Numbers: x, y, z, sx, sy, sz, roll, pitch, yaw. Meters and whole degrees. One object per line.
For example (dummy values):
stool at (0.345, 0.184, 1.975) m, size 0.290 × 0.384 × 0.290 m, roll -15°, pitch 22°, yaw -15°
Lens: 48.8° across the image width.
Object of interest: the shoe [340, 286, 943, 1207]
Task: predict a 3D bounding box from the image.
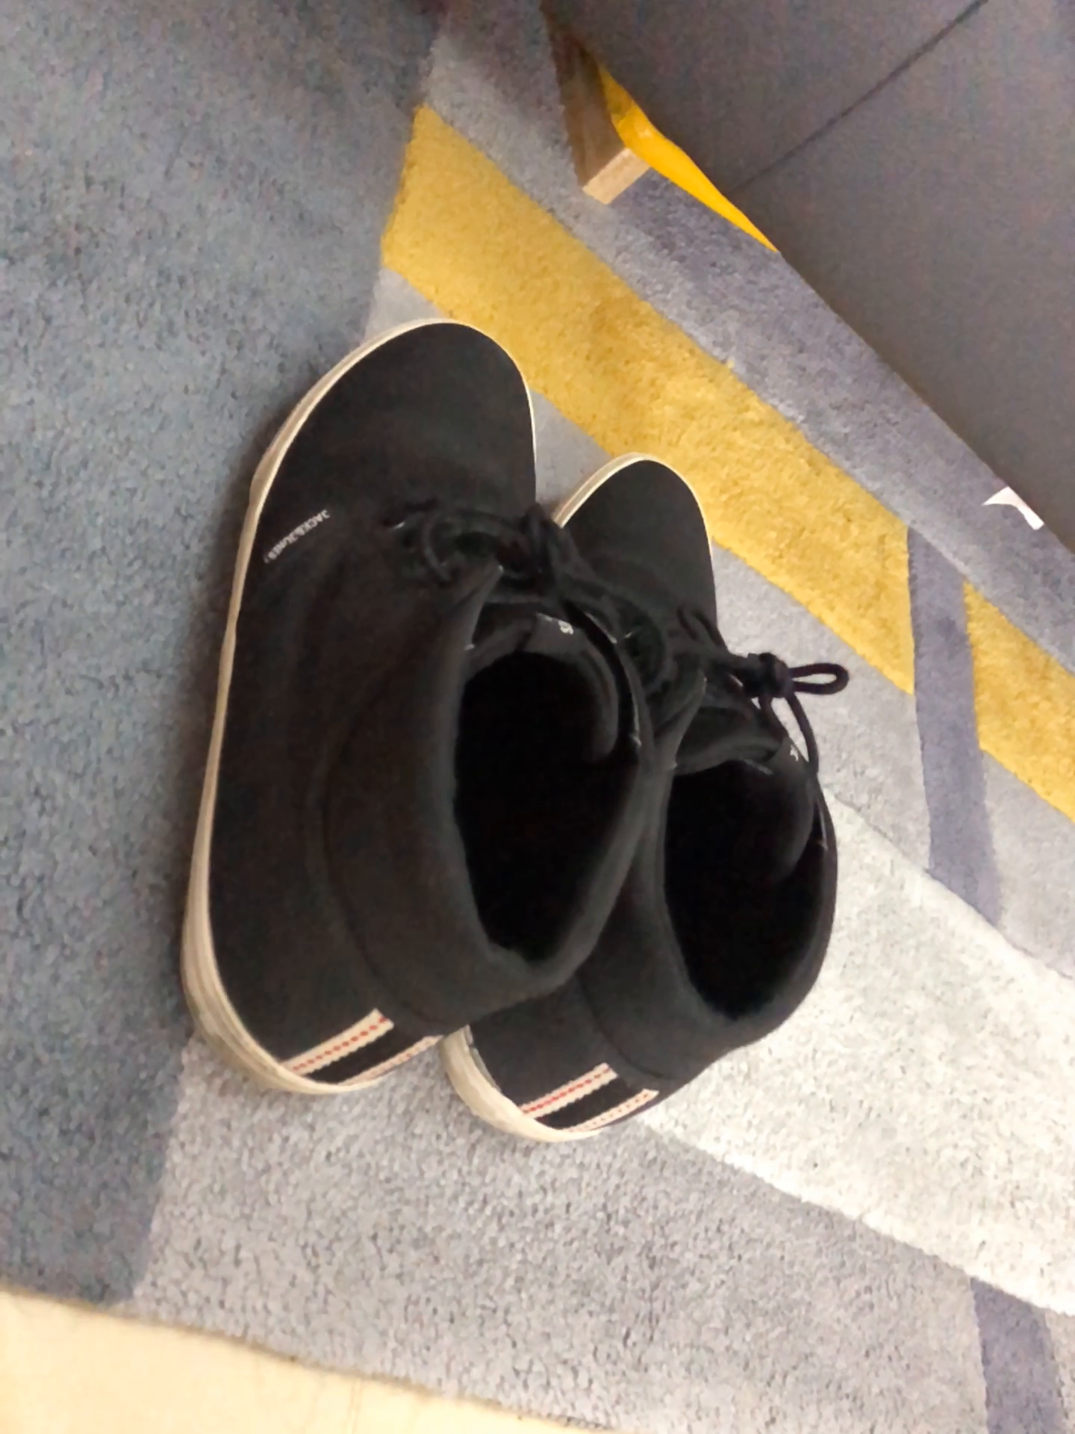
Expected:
shoe at (0.046, 0.005, 0.417) m, size 0.110 × 0.129 × 0.282 m, roll 34°, pitch 48°, yaw -29°

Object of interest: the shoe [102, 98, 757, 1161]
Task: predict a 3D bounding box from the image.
shoe at (-0.017, -0.031, 0.355) m, size 0.110 × 0.109 × 0.281 m, roll 29°, pitch 50°, yaw -33°
